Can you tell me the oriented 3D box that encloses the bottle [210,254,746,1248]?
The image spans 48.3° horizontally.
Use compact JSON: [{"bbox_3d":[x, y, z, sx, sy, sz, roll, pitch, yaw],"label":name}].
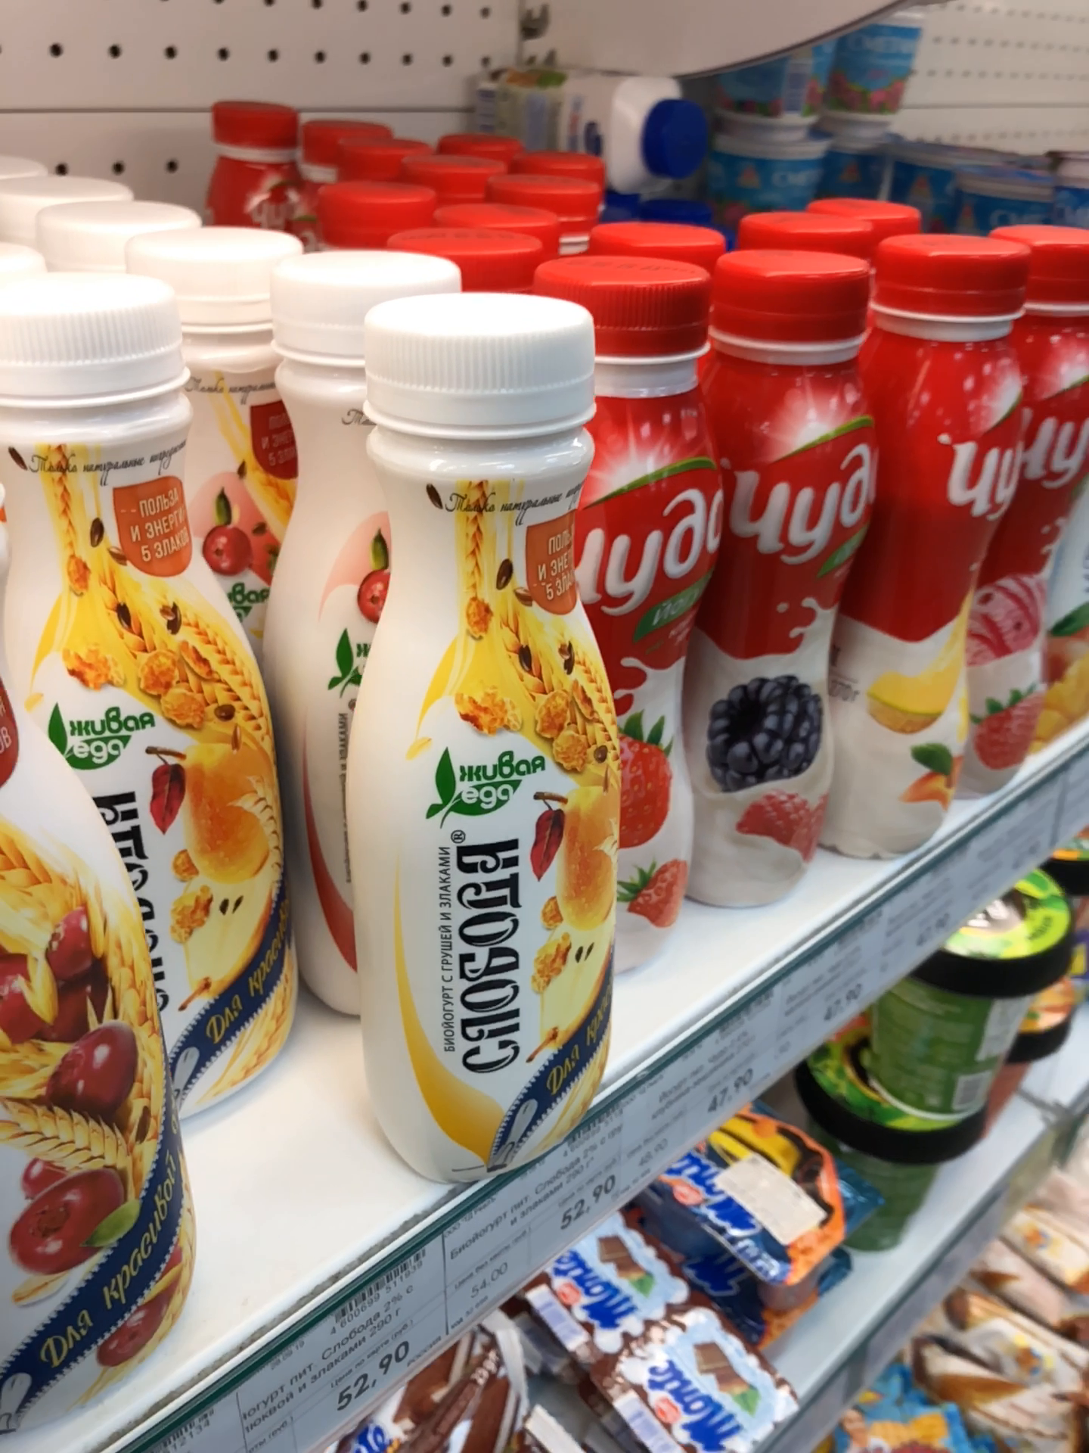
[{"bbox_3d":[-0.016,0.008,0.256,0.070,0.189,0.060,-21,38,-36],"label":"bottle"}]
